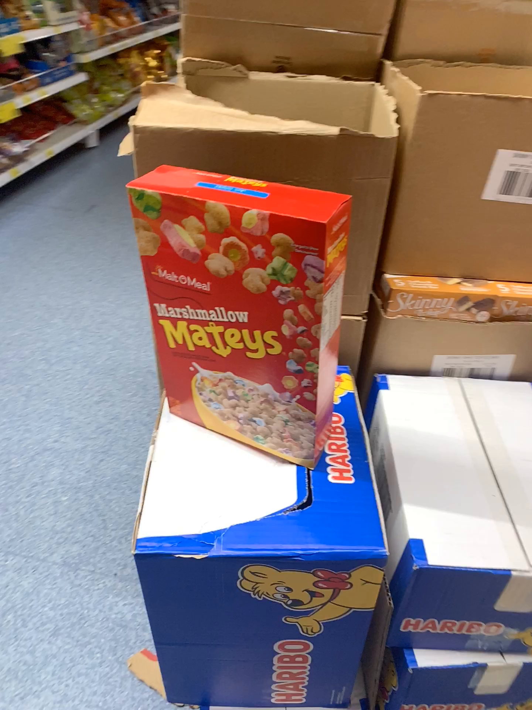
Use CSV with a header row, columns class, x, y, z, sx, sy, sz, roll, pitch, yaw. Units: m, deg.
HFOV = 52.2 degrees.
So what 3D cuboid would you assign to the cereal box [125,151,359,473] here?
class,x,y,z,sx,sy,sz,roll,pitch,yaw
cereal box,-0.019,-0.036,0.547,0.191,0.287,0.071,17,41,24
